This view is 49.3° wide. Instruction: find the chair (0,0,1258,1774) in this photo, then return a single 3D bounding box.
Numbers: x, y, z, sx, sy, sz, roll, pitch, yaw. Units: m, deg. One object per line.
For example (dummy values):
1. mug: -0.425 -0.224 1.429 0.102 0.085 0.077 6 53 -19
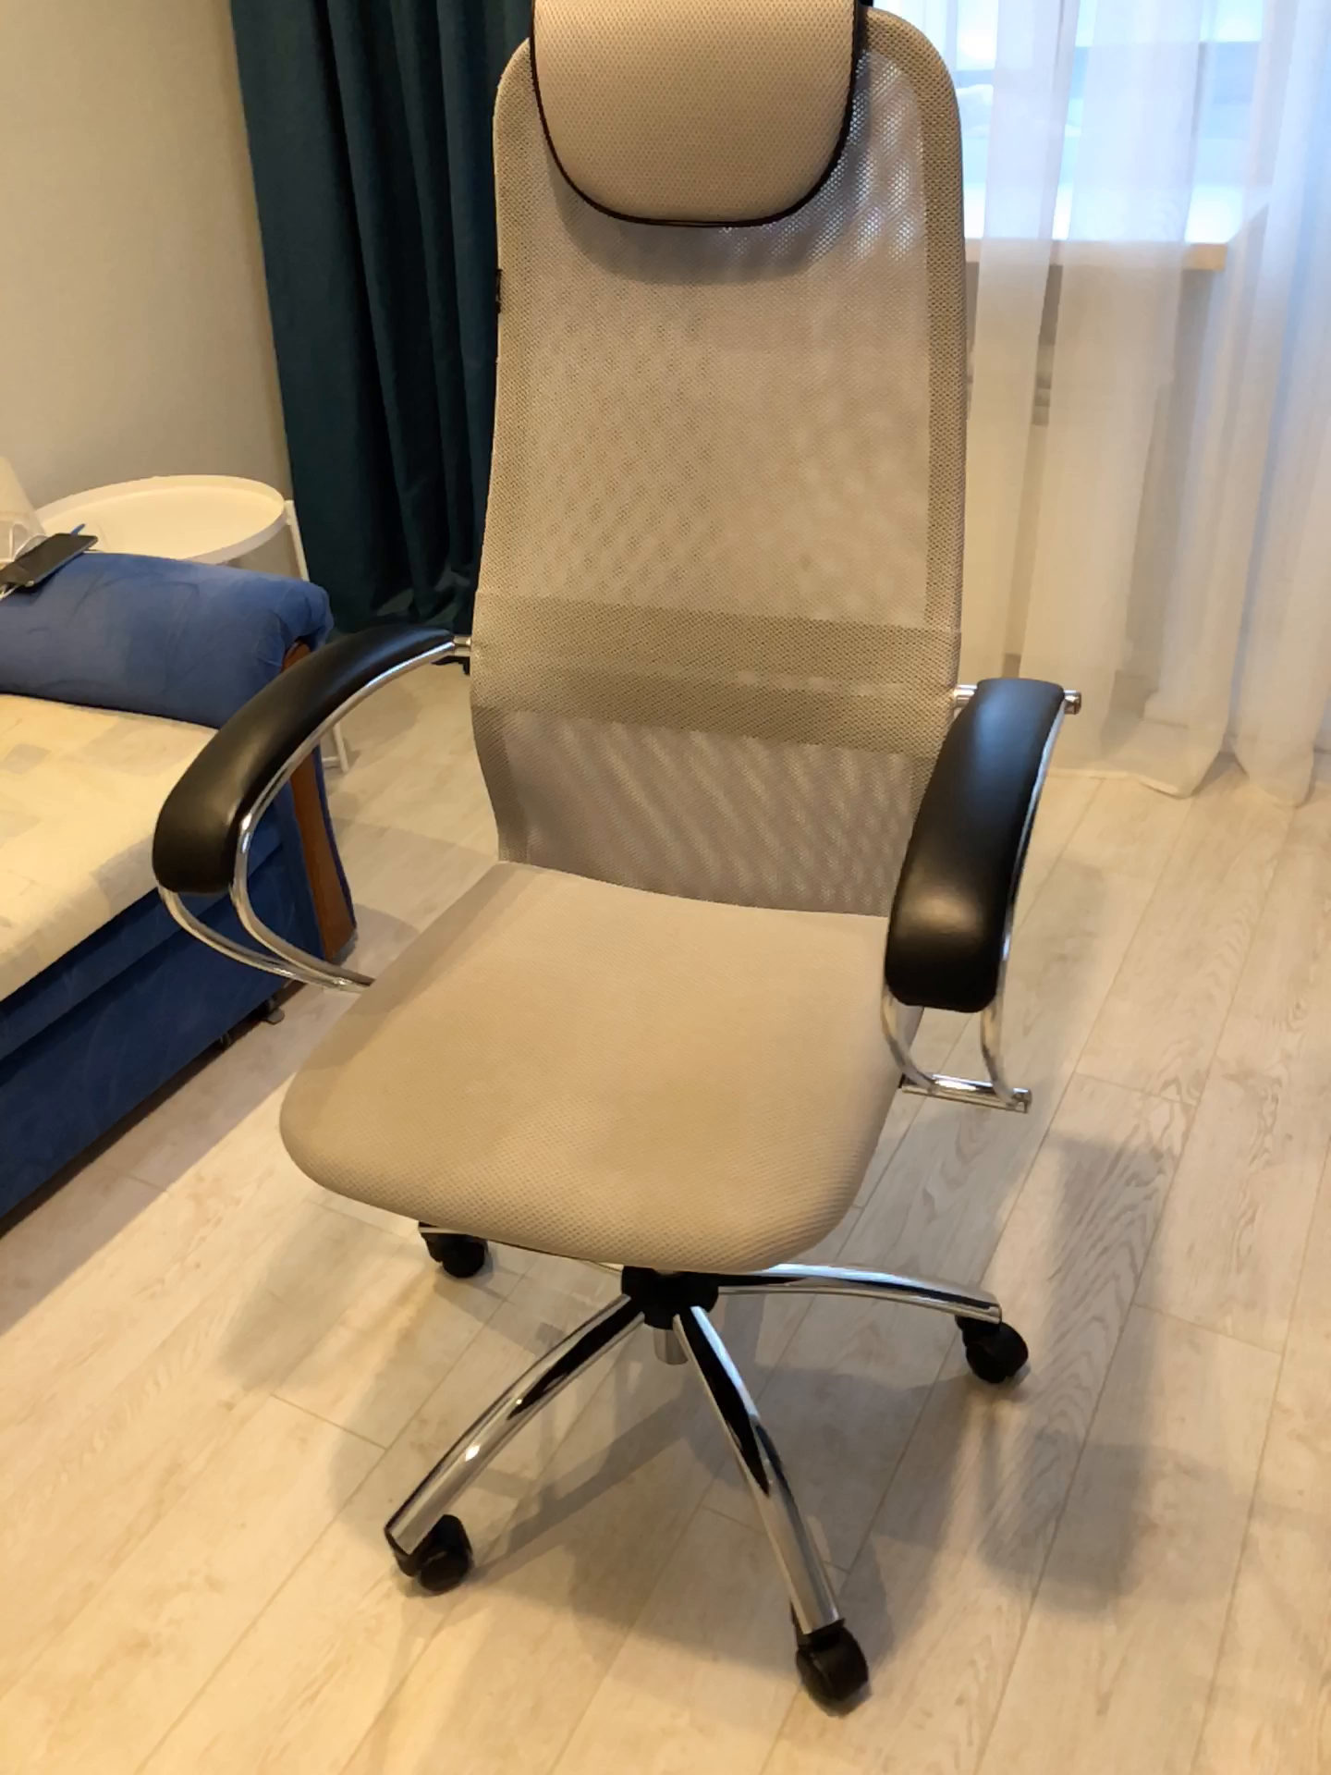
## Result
1. chair: -0.018 -0.055 1.138 0.680 1.152 0.694 11 35 24
